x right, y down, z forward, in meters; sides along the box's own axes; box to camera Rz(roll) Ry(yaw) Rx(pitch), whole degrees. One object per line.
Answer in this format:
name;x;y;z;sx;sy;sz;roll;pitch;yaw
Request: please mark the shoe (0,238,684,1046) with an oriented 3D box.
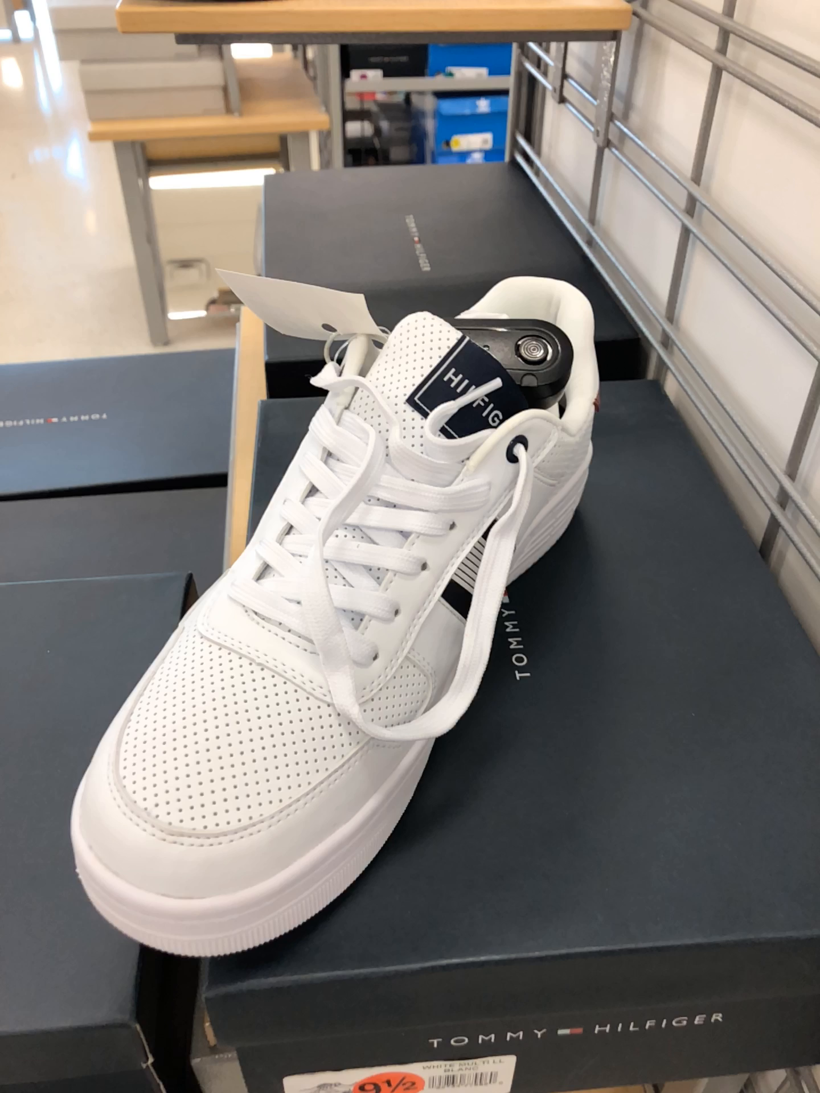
shoe;-0.010;-0.002;0.327;0.110;0.109;0.282;21;44;23
